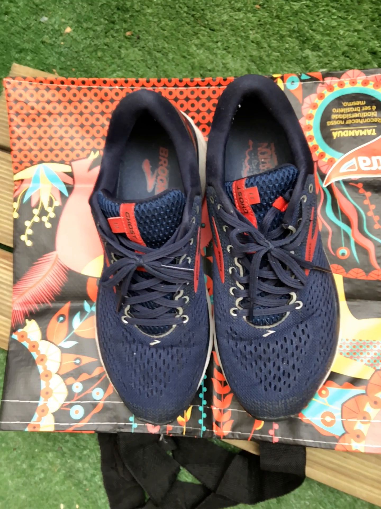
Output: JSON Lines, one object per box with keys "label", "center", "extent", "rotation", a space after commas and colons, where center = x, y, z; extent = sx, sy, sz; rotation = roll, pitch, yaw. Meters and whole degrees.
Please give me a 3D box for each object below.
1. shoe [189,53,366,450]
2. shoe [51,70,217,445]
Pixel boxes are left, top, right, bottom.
{"label": "shoe", "center": [0.063, -0.001, 0.337], "extent": [0.100, 0.100, 0.265], "rotation": [-4, 83, 9]}
{"label": "shoe", "center": [-0.039, 0.003, 0.356], "extent": [0.107, 0.100, 0.265], "rotation": [-2, 83, 10]}
